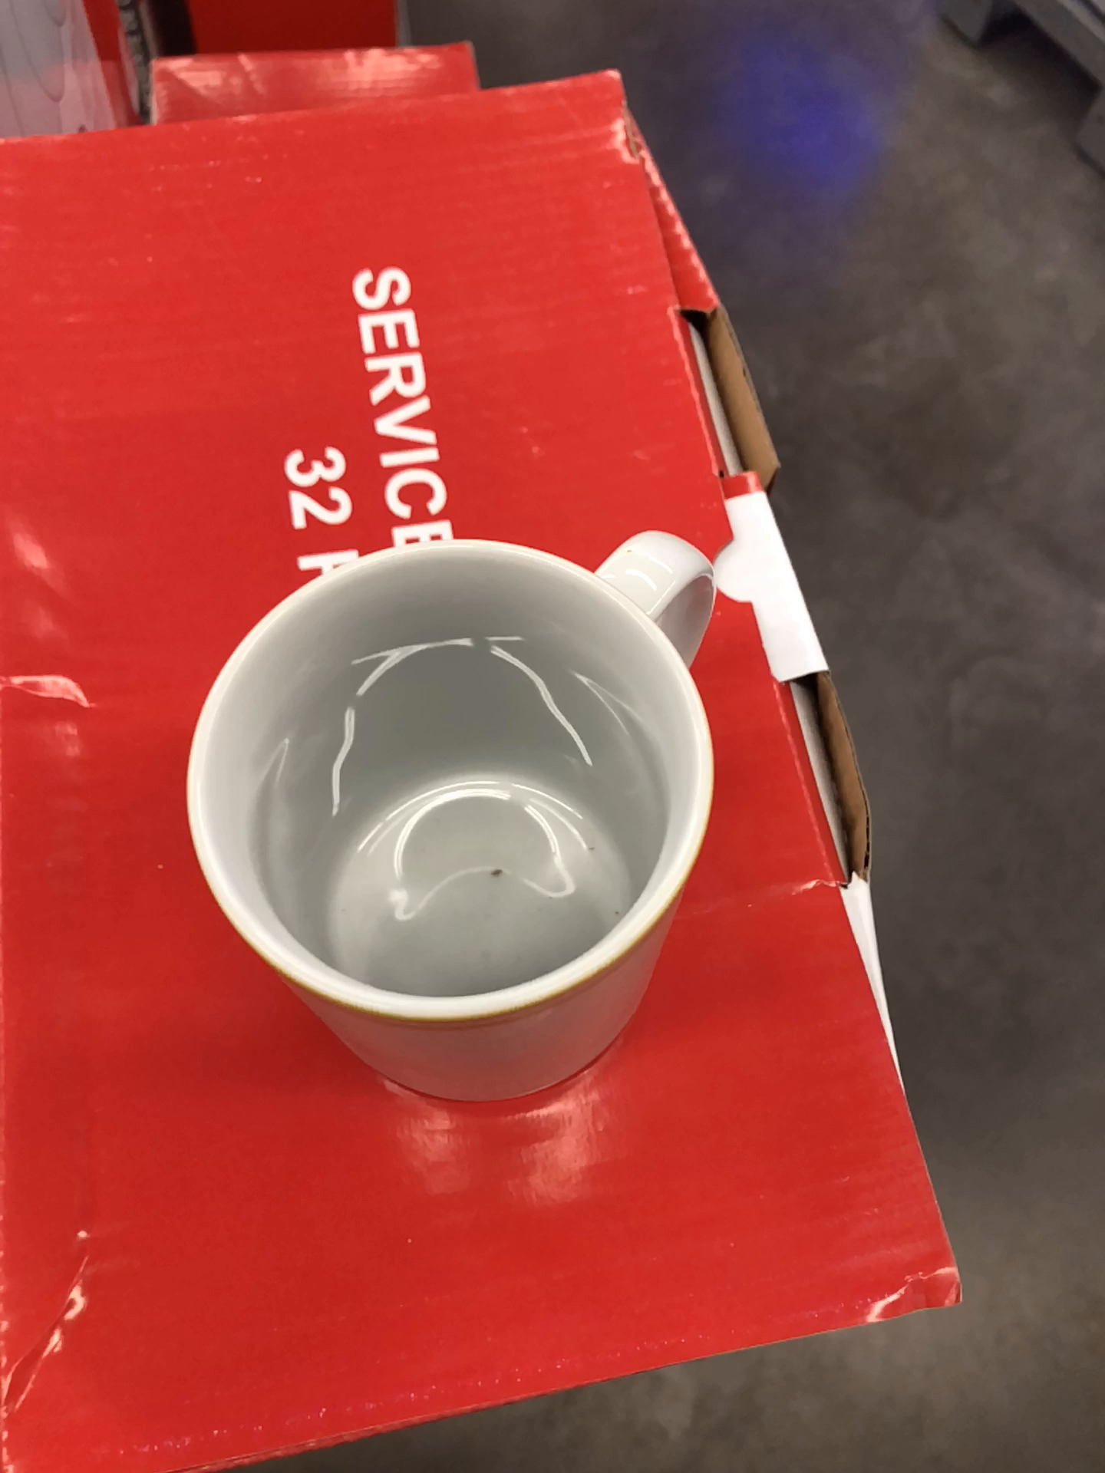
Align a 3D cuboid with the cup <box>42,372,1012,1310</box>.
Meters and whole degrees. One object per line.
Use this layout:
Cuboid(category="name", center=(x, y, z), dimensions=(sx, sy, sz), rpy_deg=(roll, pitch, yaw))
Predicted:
Cuboid(category="cup", center=(-0.002, 0.023, 0.228), dimensions=(0.096, 0.092, 0.116), rpy_deg=(36, 67, 13))
